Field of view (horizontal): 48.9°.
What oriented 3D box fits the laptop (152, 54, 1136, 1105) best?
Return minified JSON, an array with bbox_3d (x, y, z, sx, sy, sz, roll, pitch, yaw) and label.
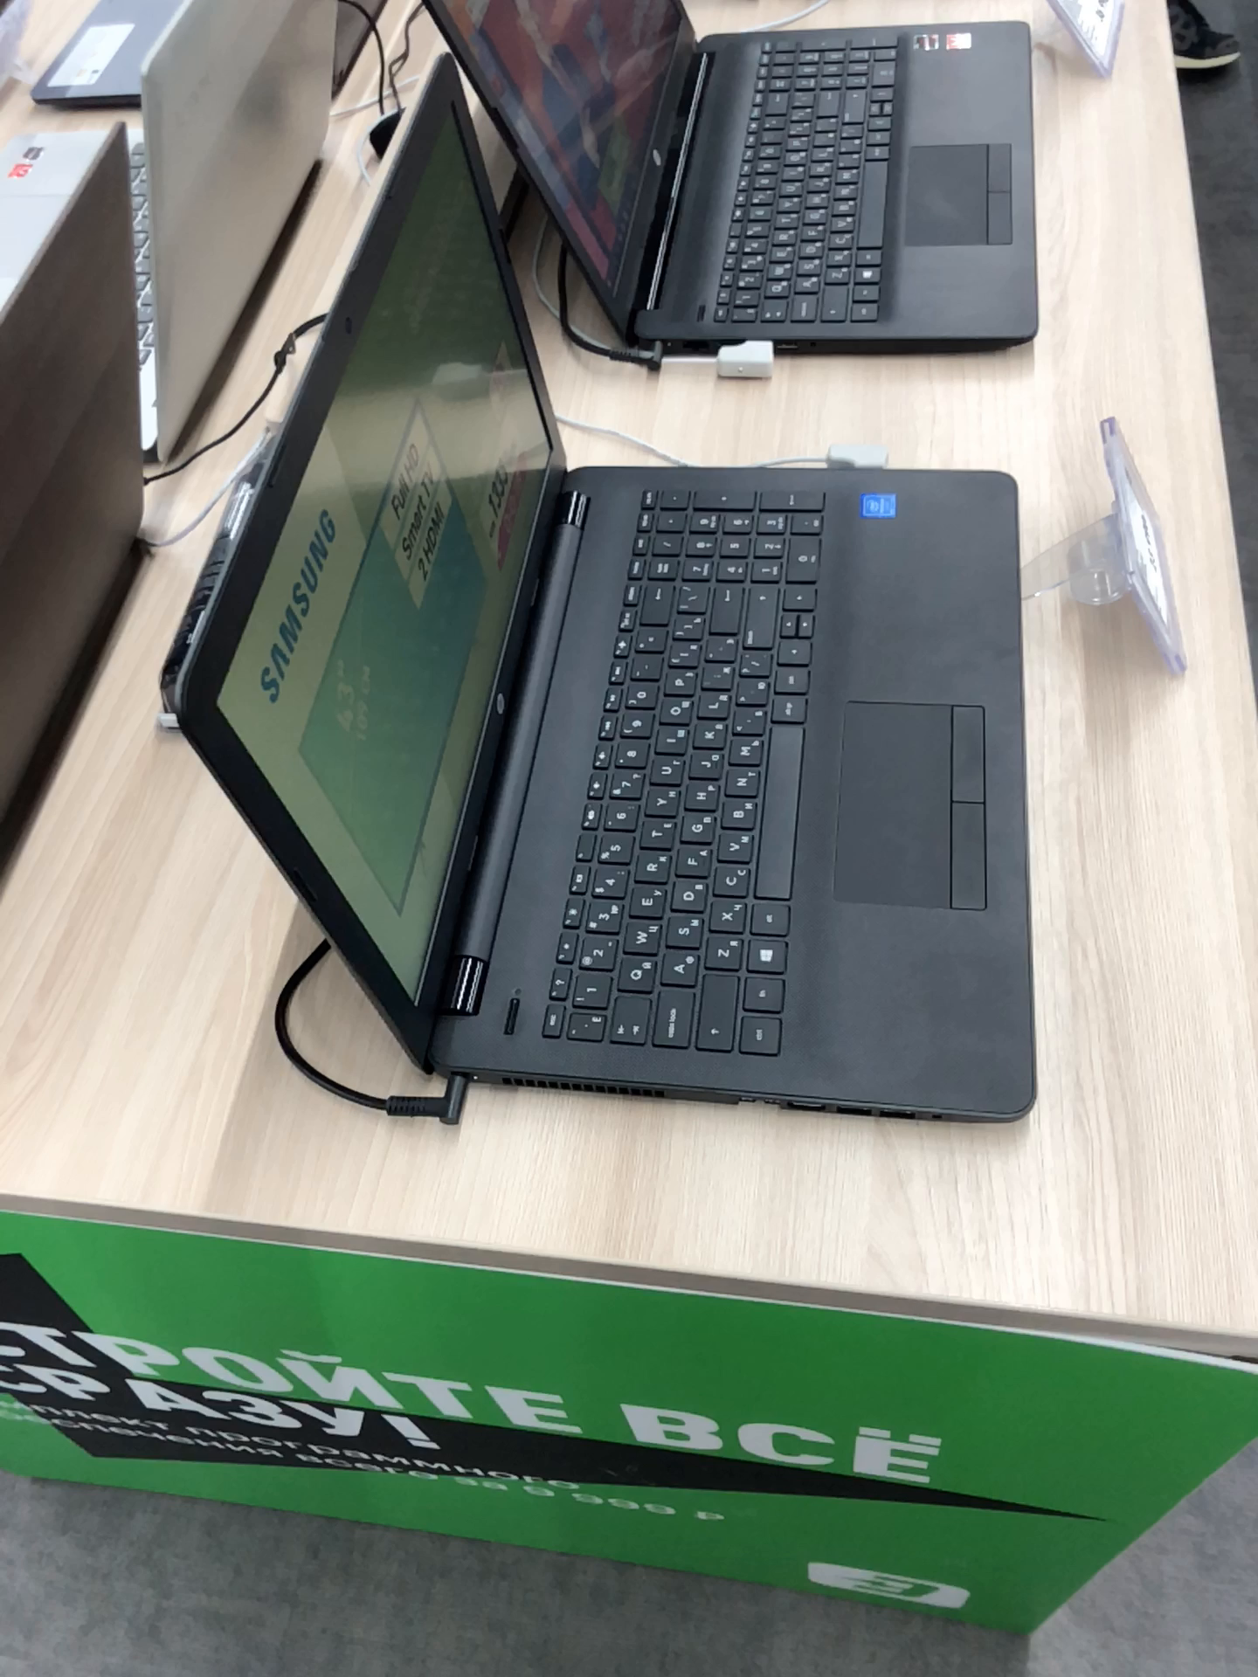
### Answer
[{"bbox_3d":[0.033,-0.117,0.572,0.273,0.222,0.363,3,55,7],"label":"laptop"}]
